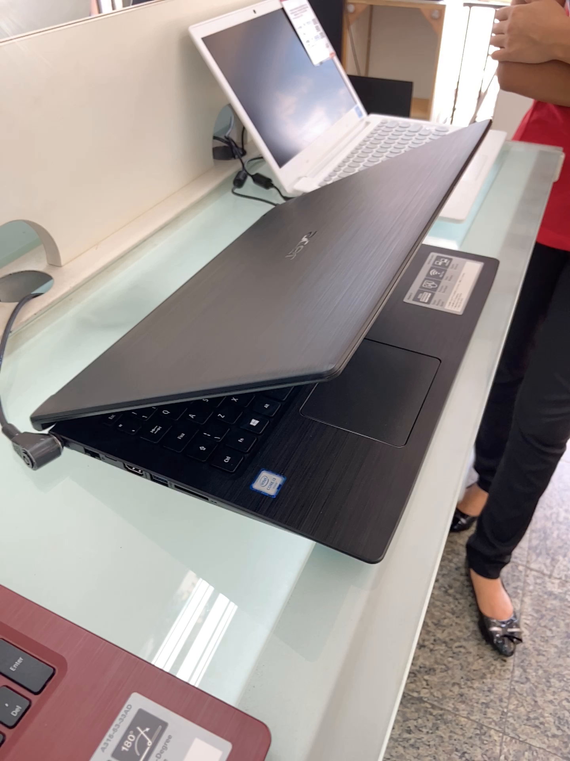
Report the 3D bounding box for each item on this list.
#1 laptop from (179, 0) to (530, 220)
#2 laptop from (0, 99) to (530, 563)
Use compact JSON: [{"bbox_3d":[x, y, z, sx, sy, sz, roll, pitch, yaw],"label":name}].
[{"bbox_3d":[0.116,-0.397,0.803,0.351,0.165,0.383,15,40,17],"label":"laptop"},{"bbox_3d":[0.025,-0.090,0.461,0.239,0.123,0.381,17,43,19],"label":"laptop"}]
